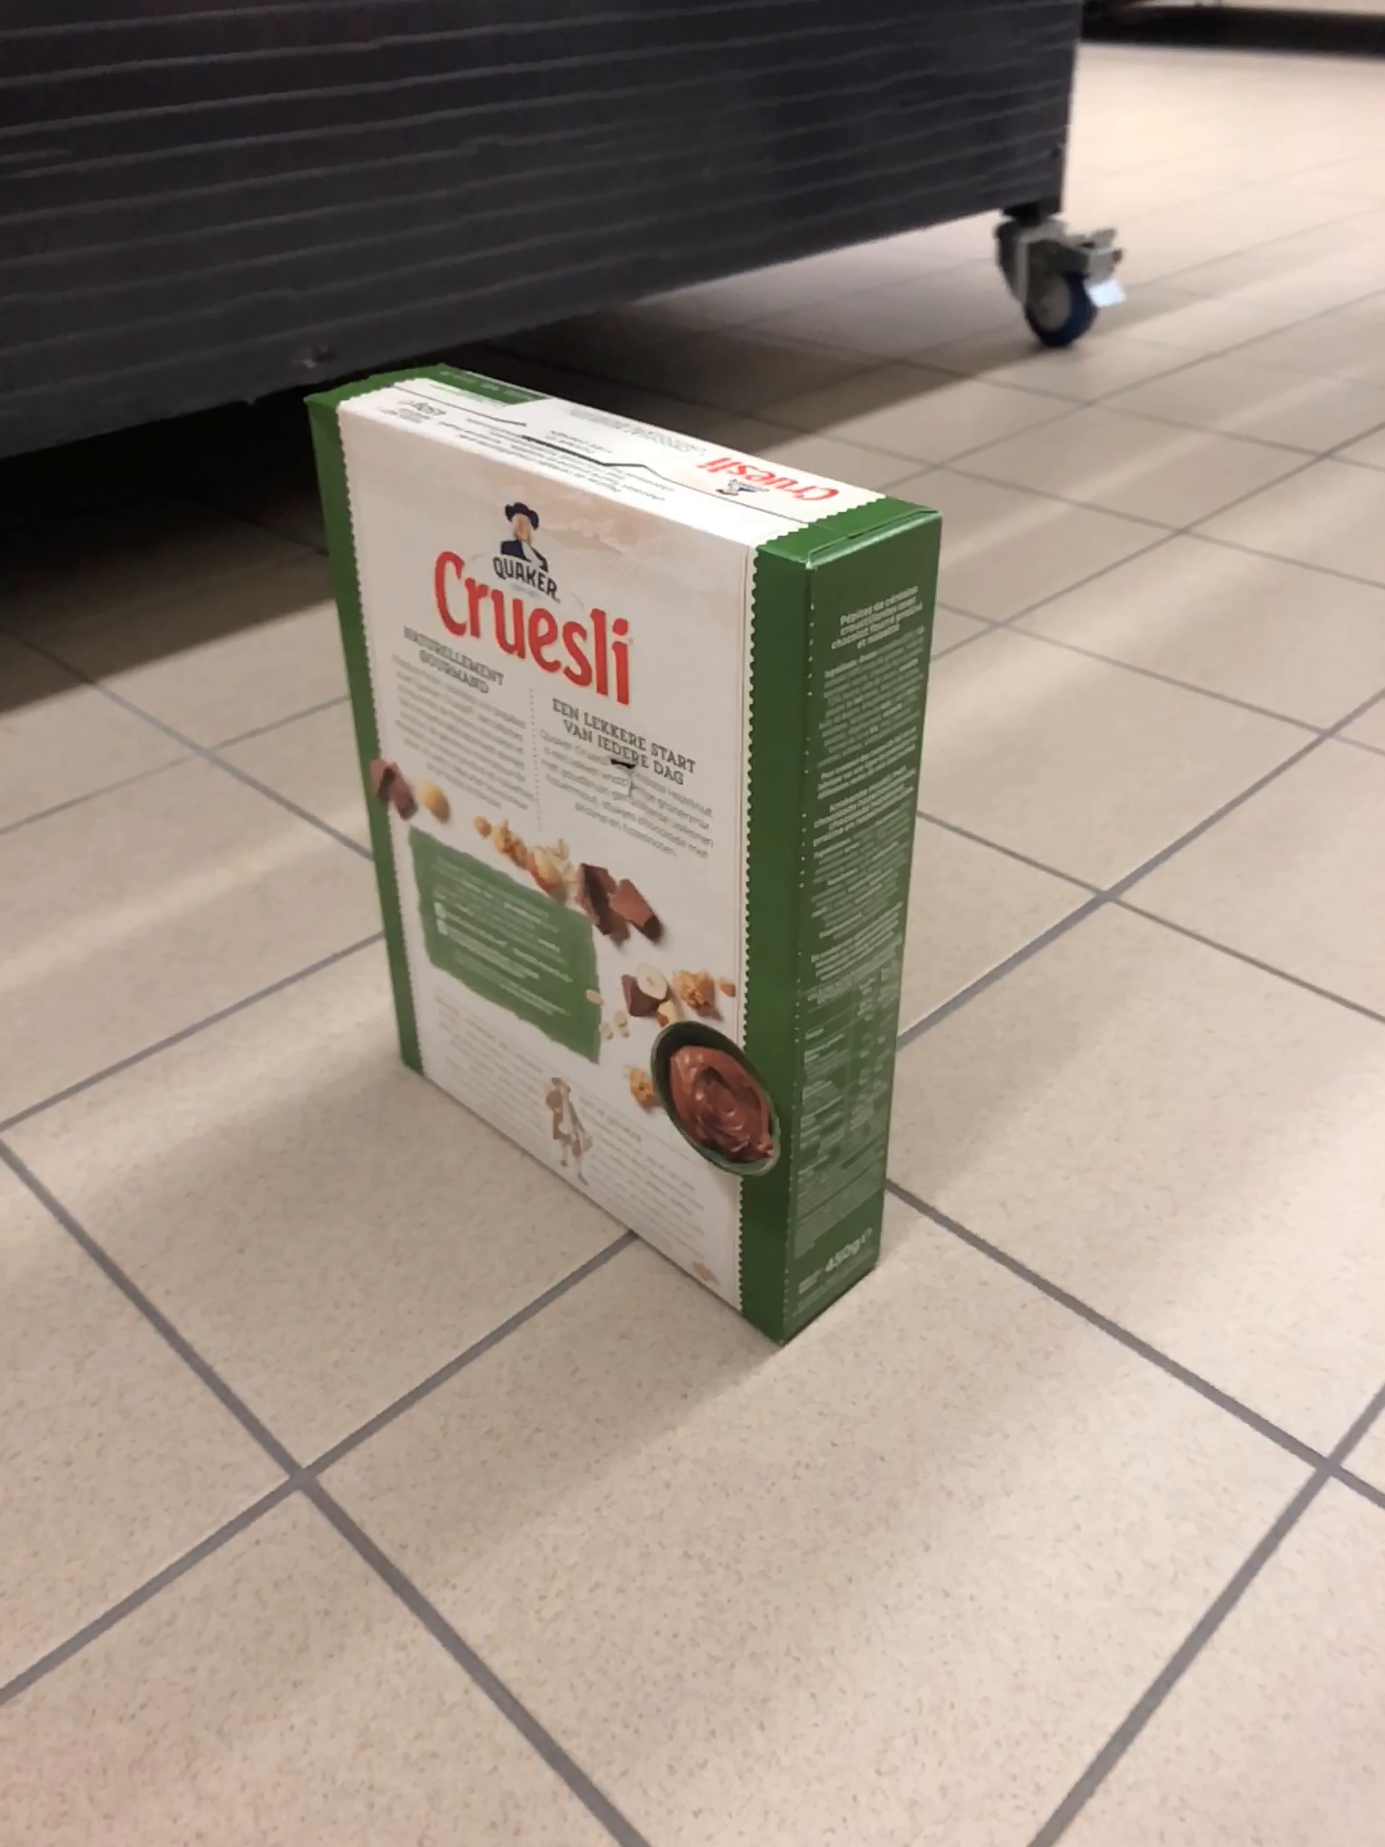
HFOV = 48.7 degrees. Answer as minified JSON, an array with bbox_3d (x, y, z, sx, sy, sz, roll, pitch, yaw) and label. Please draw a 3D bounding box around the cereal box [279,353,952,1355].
[{"bbox_3d":[-0.027,-0.023,0.454,0.060,0.239,0.190,-28,43,-35],"label":"cereal box"}]
